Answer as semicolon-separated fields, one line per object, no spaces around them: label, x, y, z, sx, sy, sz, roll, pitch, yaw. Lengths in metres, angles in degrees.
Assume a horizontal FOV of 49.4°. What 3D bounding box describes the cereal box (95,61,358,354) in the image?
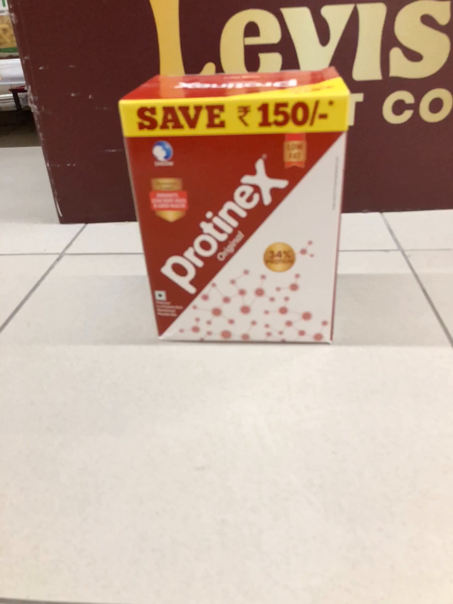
cereal box;0.008;-0.076;0.400;0.160;0.199;0.121;0;31;6
